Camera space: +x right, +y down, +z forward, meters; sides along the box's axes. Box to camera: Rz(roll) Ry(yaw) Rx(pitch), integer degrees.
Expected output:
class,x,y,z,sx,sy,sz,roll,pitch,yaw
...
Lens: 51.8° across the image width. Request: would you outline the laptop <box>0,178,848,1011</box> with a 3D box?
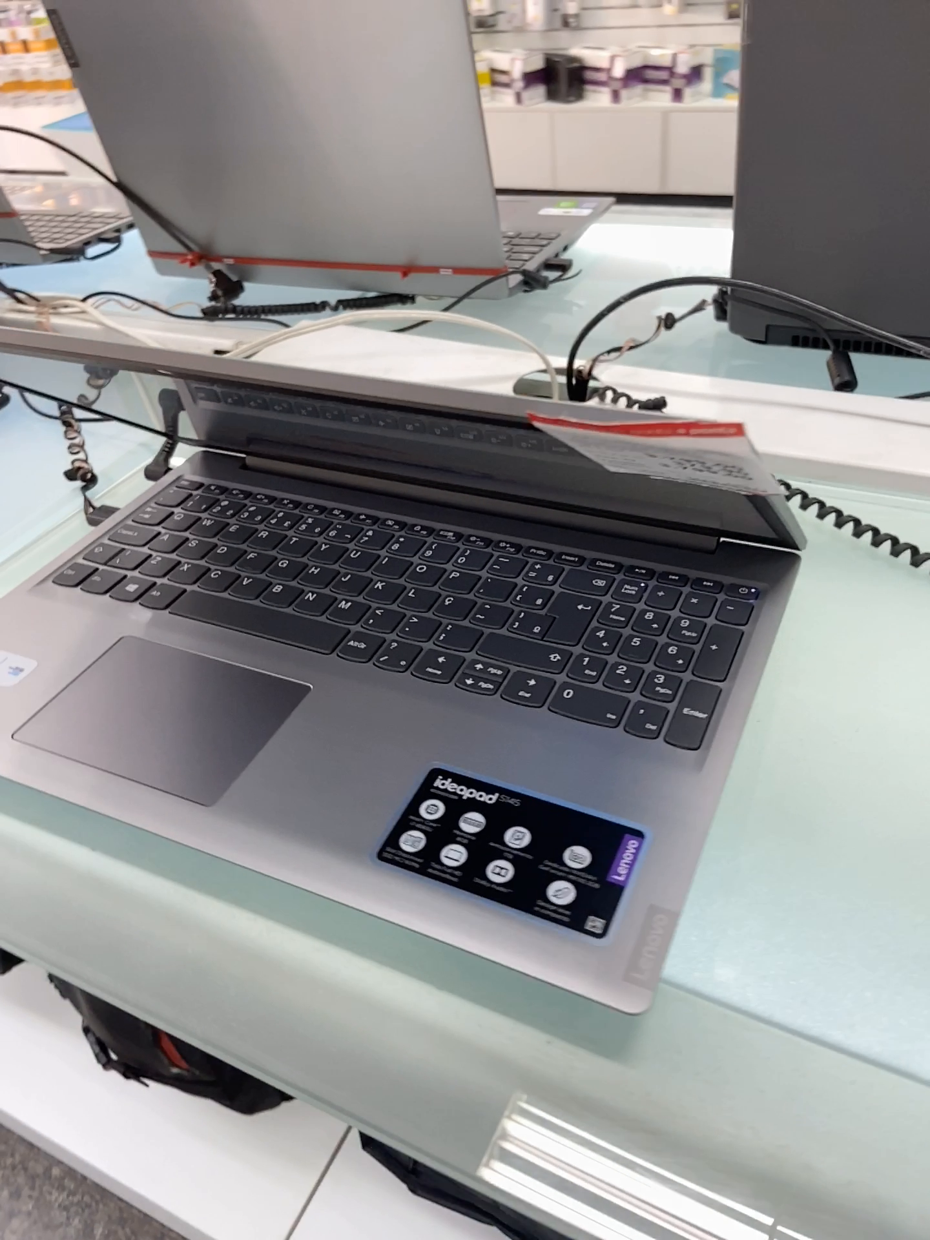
class,x,y,z,sx,sy,sz,roll,pitch,yaw
laptop,-0.067,-0.056,0.386,0.362,0.160,0.246,12,42,23
